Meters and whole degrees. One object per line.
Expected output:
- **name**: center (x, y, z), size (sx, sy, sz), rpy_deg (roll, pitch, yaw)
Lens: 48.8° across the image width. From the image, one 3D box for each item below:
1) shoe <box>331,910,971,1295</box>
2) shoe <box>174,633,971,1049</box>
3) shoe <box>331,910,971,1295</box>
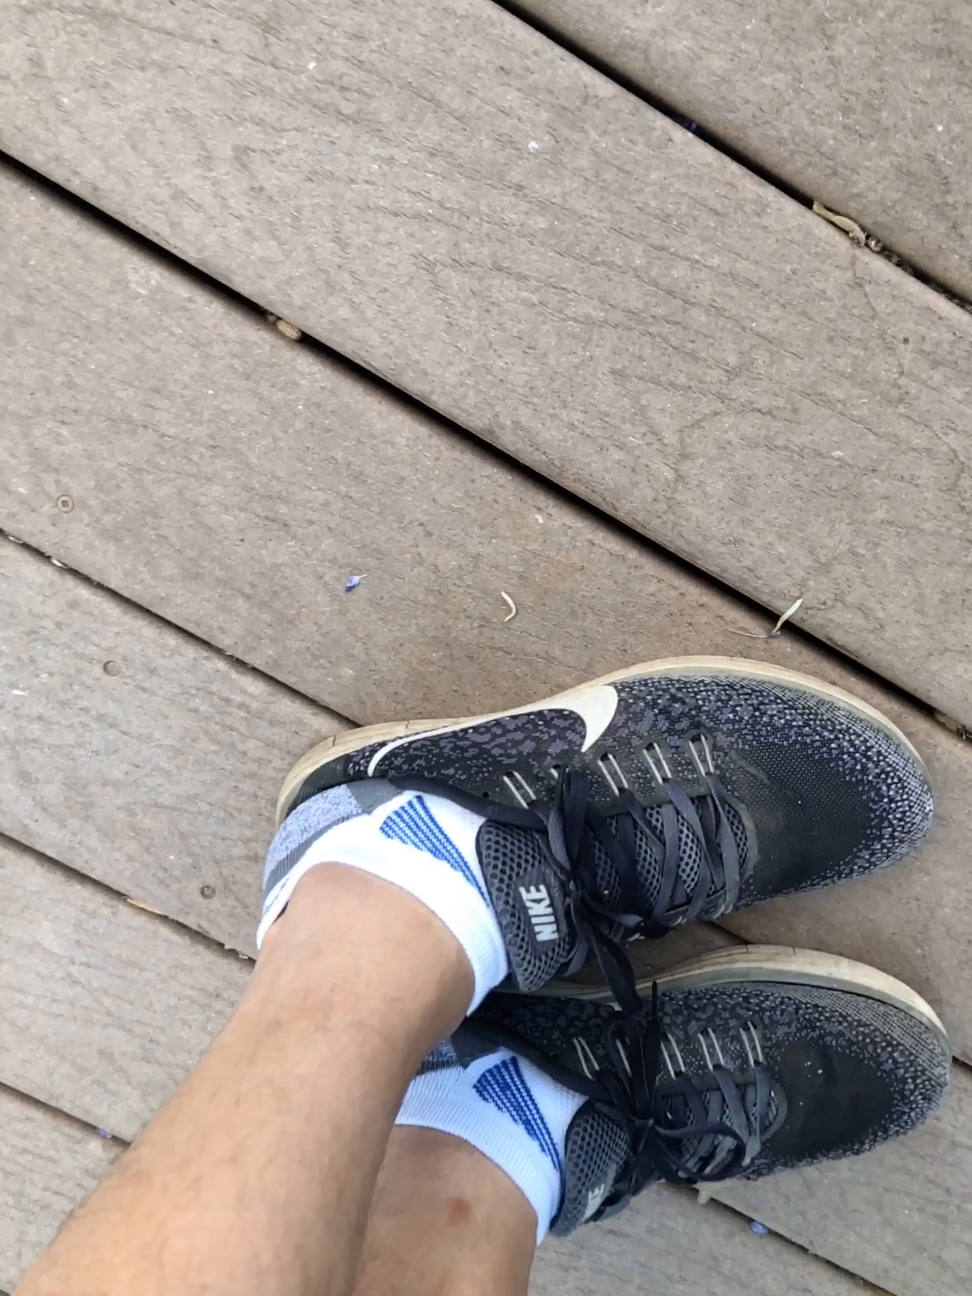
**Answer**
- **shoe**: center (0.078, 0.207, 0.495), size (0.270, 0.100, 0.120), rpy_deg (-3, 109, 3)
- **shoe**: center (0.039, 0.080, 0.459), size (0.300, 0.090, 0.120), rpy_deg (-6, 109, 4)
- **shoe**: center (0.078, 0.207, 0.495), size (0.270, 0.100, 0.120), rpy_deg (-3, 109, 3)
